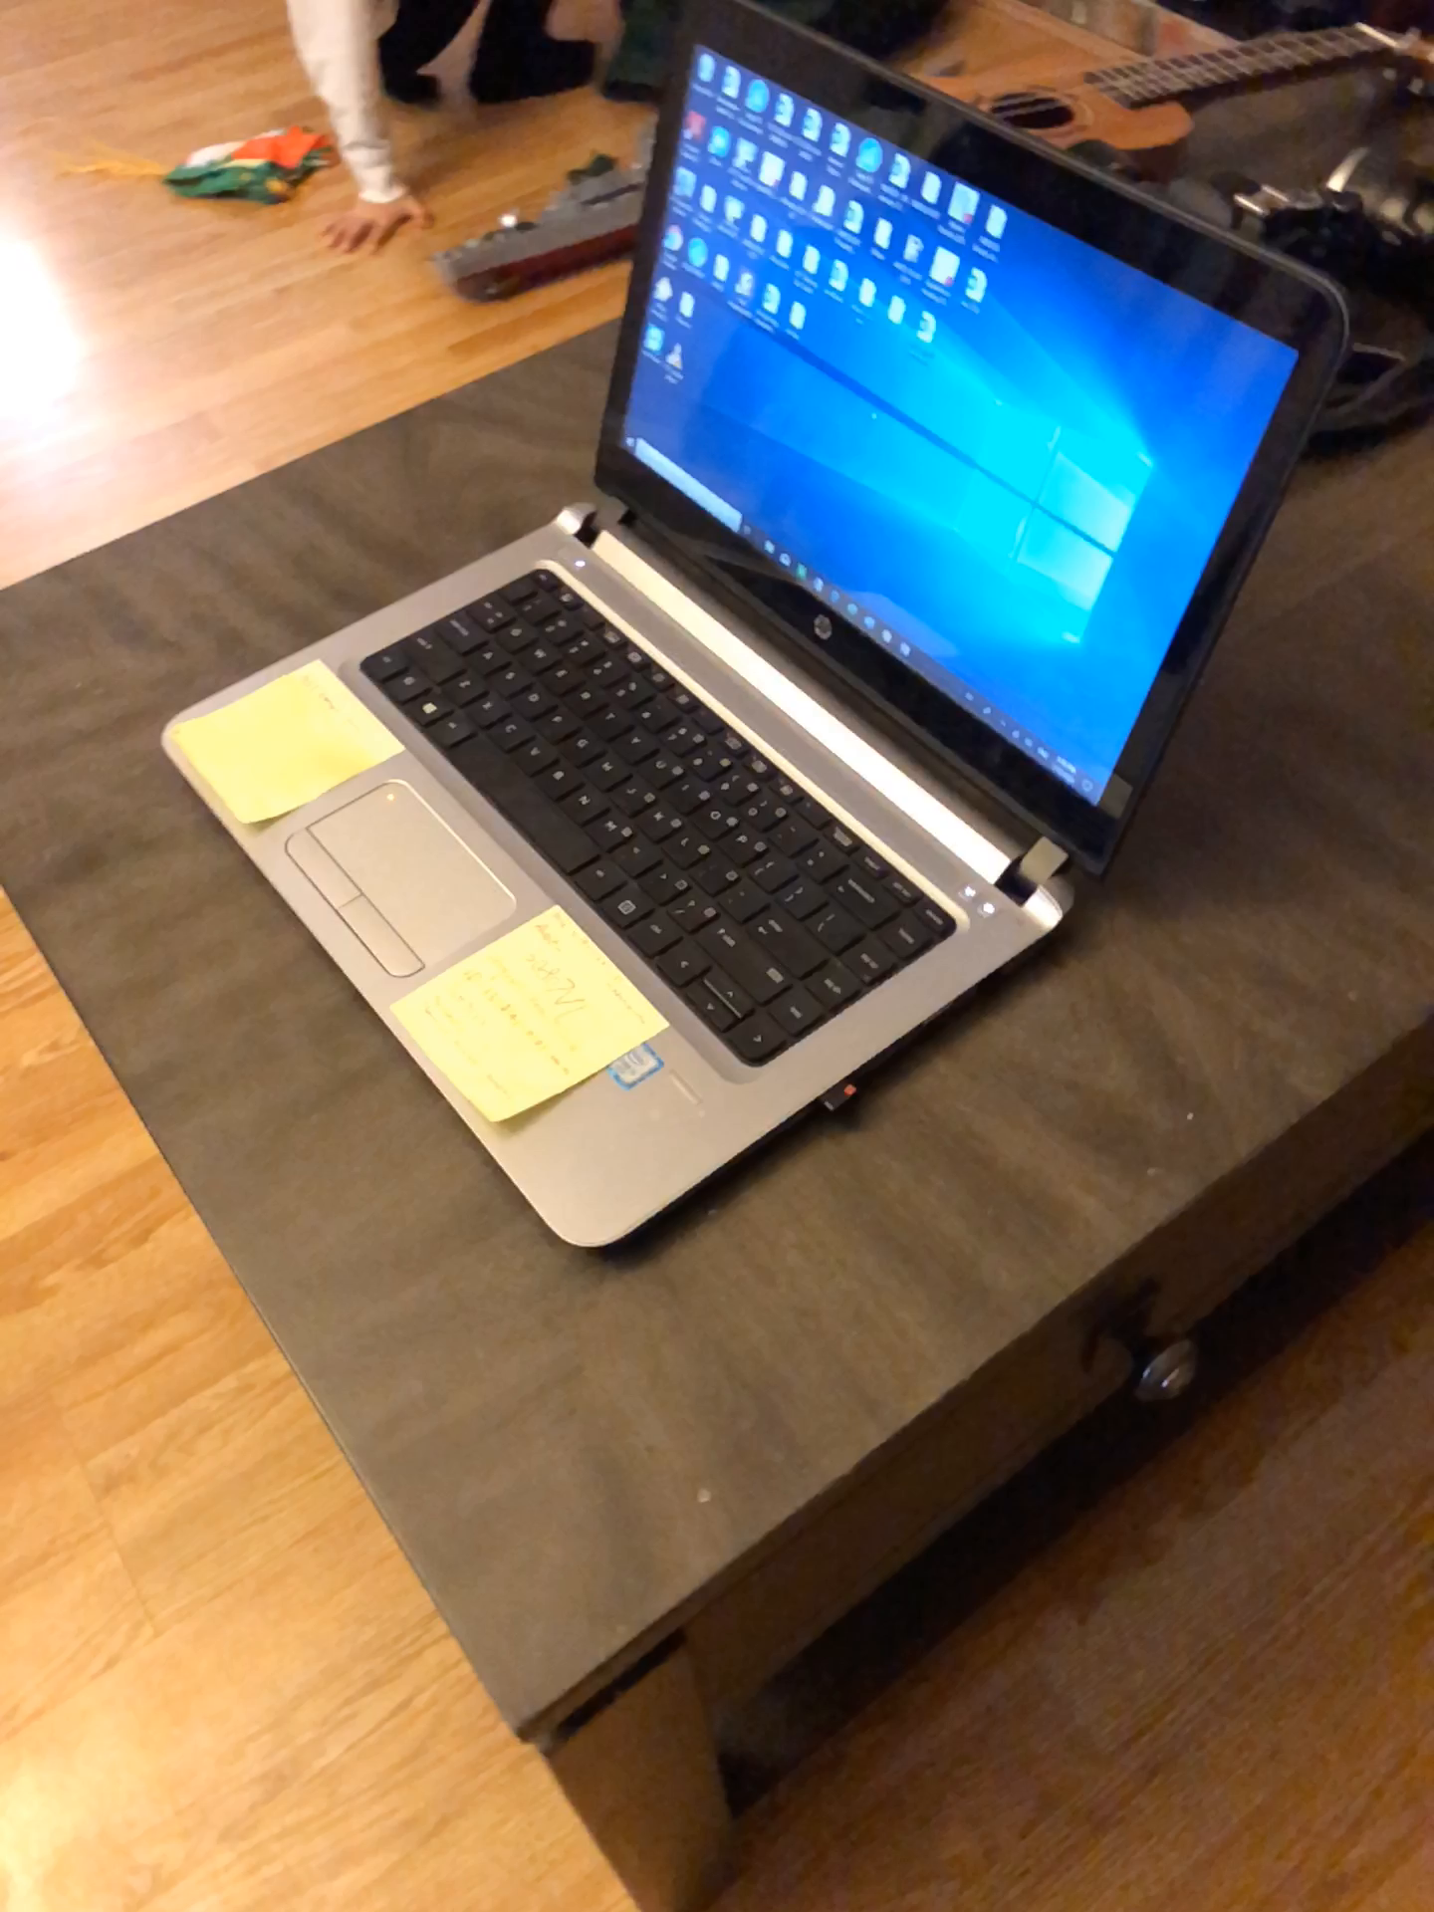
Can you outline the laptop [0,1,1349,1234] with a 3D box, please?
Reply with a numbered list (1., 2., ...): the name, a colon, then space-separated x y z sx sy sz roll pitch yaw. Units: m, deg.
1. laptop: -0.025 -0.146 0.577 0.313 0.203 0.316 -33 57 -20
